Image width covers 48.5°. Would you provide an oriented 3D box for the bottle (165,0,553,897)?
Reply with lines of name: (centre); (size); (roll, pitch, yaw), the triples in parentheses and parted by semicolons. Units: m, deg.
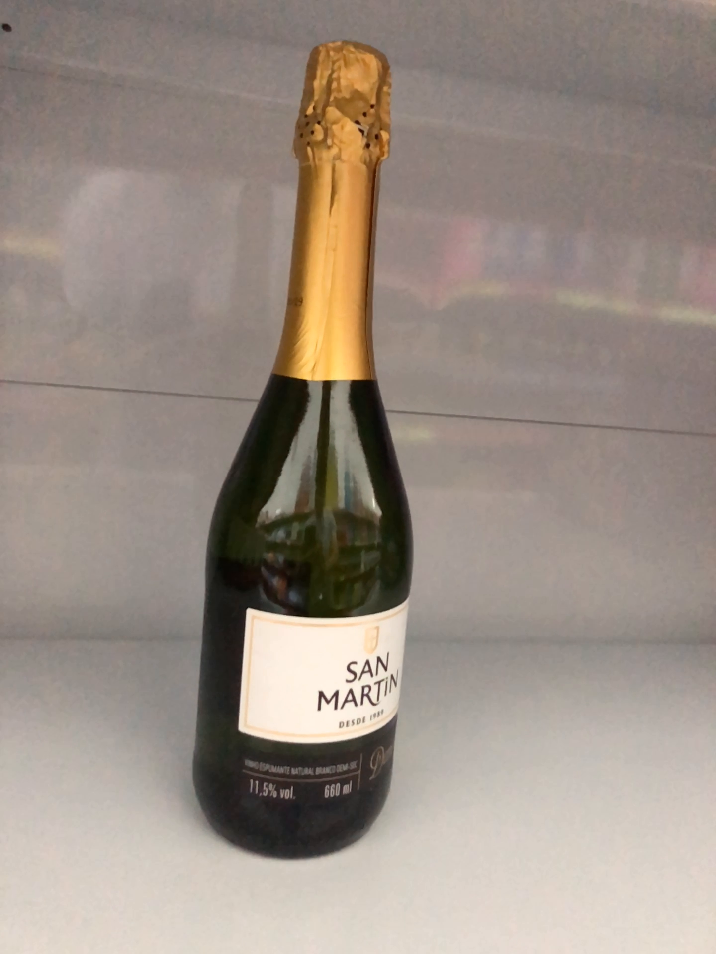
bottle: (-0.007, -0.018, 0.303); (0.090, 0.309, 0.080); (-2, 13, -37)
